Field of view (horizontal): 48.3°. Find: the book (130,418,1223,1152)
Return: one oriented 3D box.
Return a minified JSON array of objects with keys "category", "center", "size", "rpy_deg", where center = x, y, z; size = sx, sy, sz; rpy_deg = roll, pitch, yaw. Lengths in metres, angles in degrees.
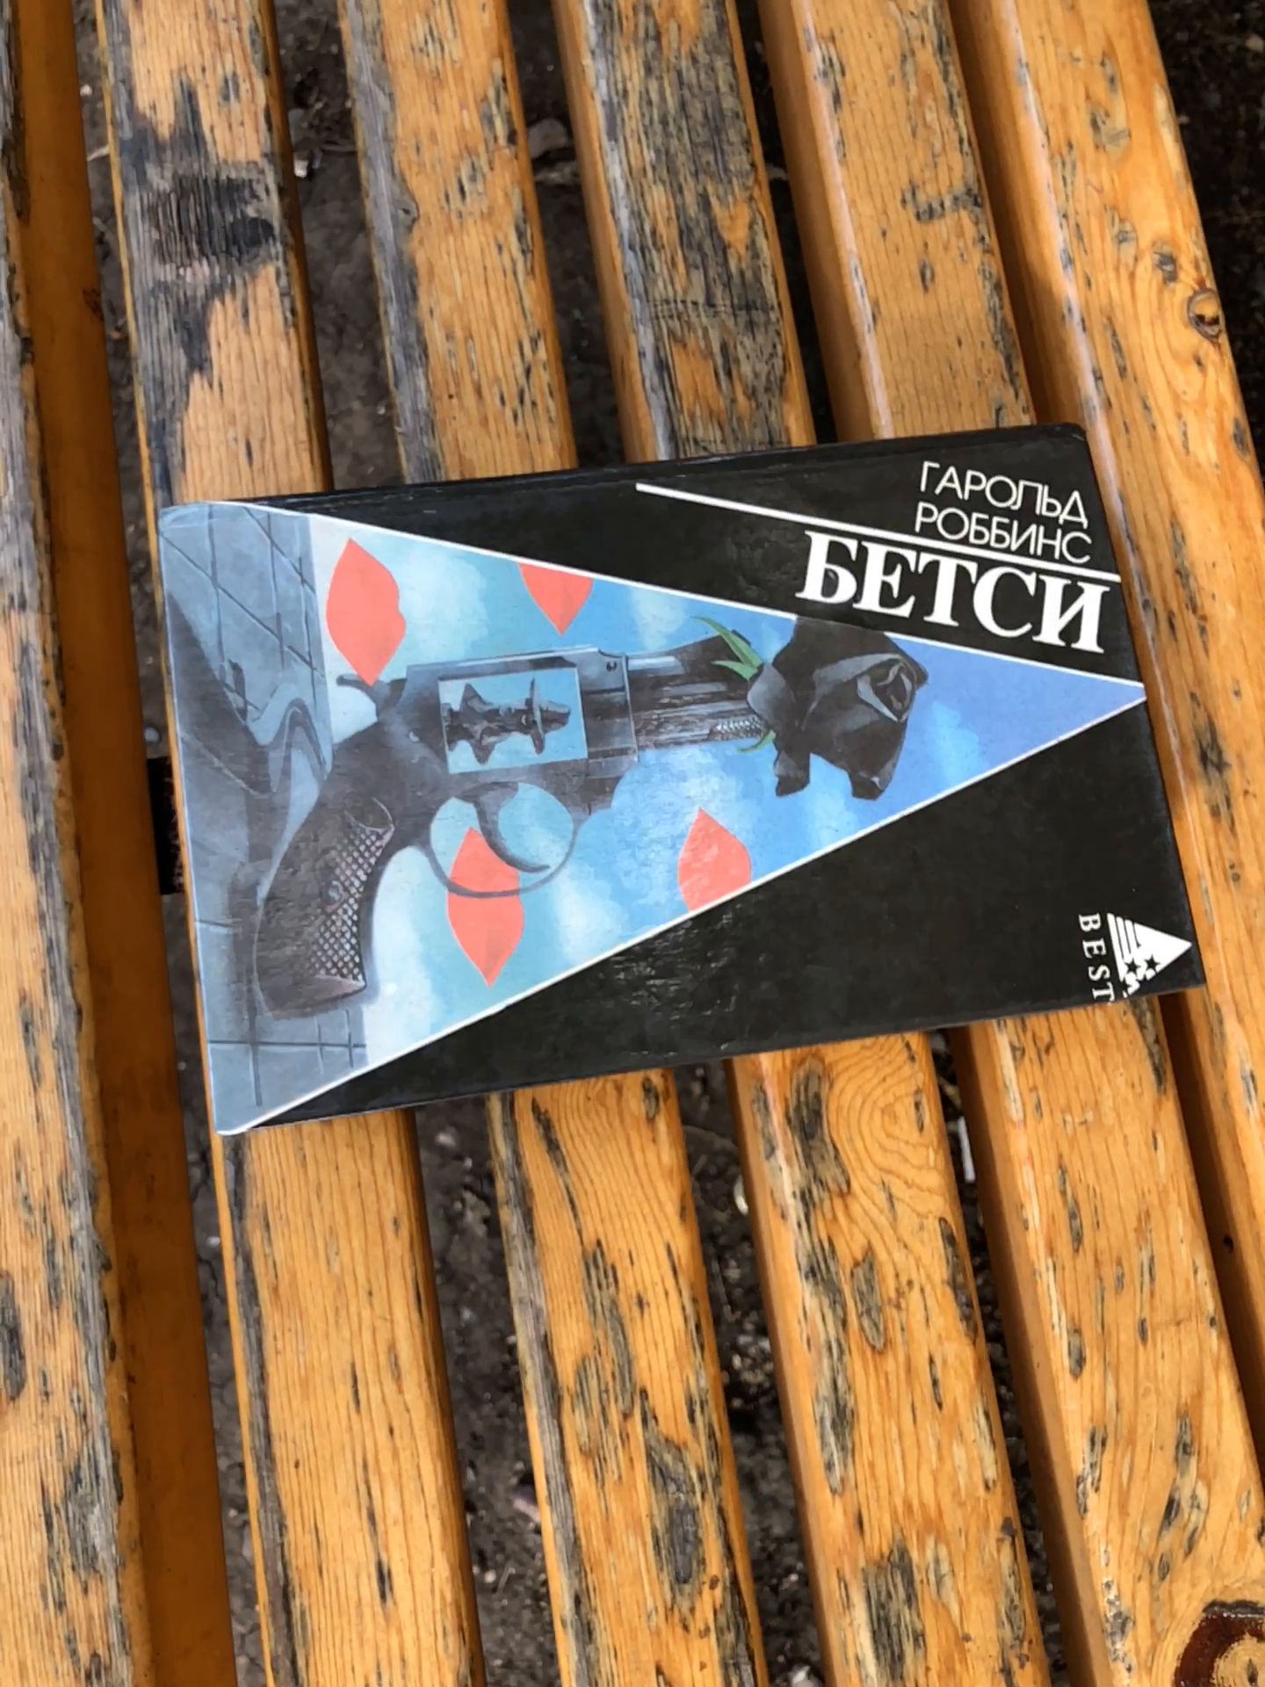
[{"category":"book","center":[0.008,-0.014,0.313],"size":[0.210,0.045,0.130],"rpy_deg":[-7,81,-7]}]
